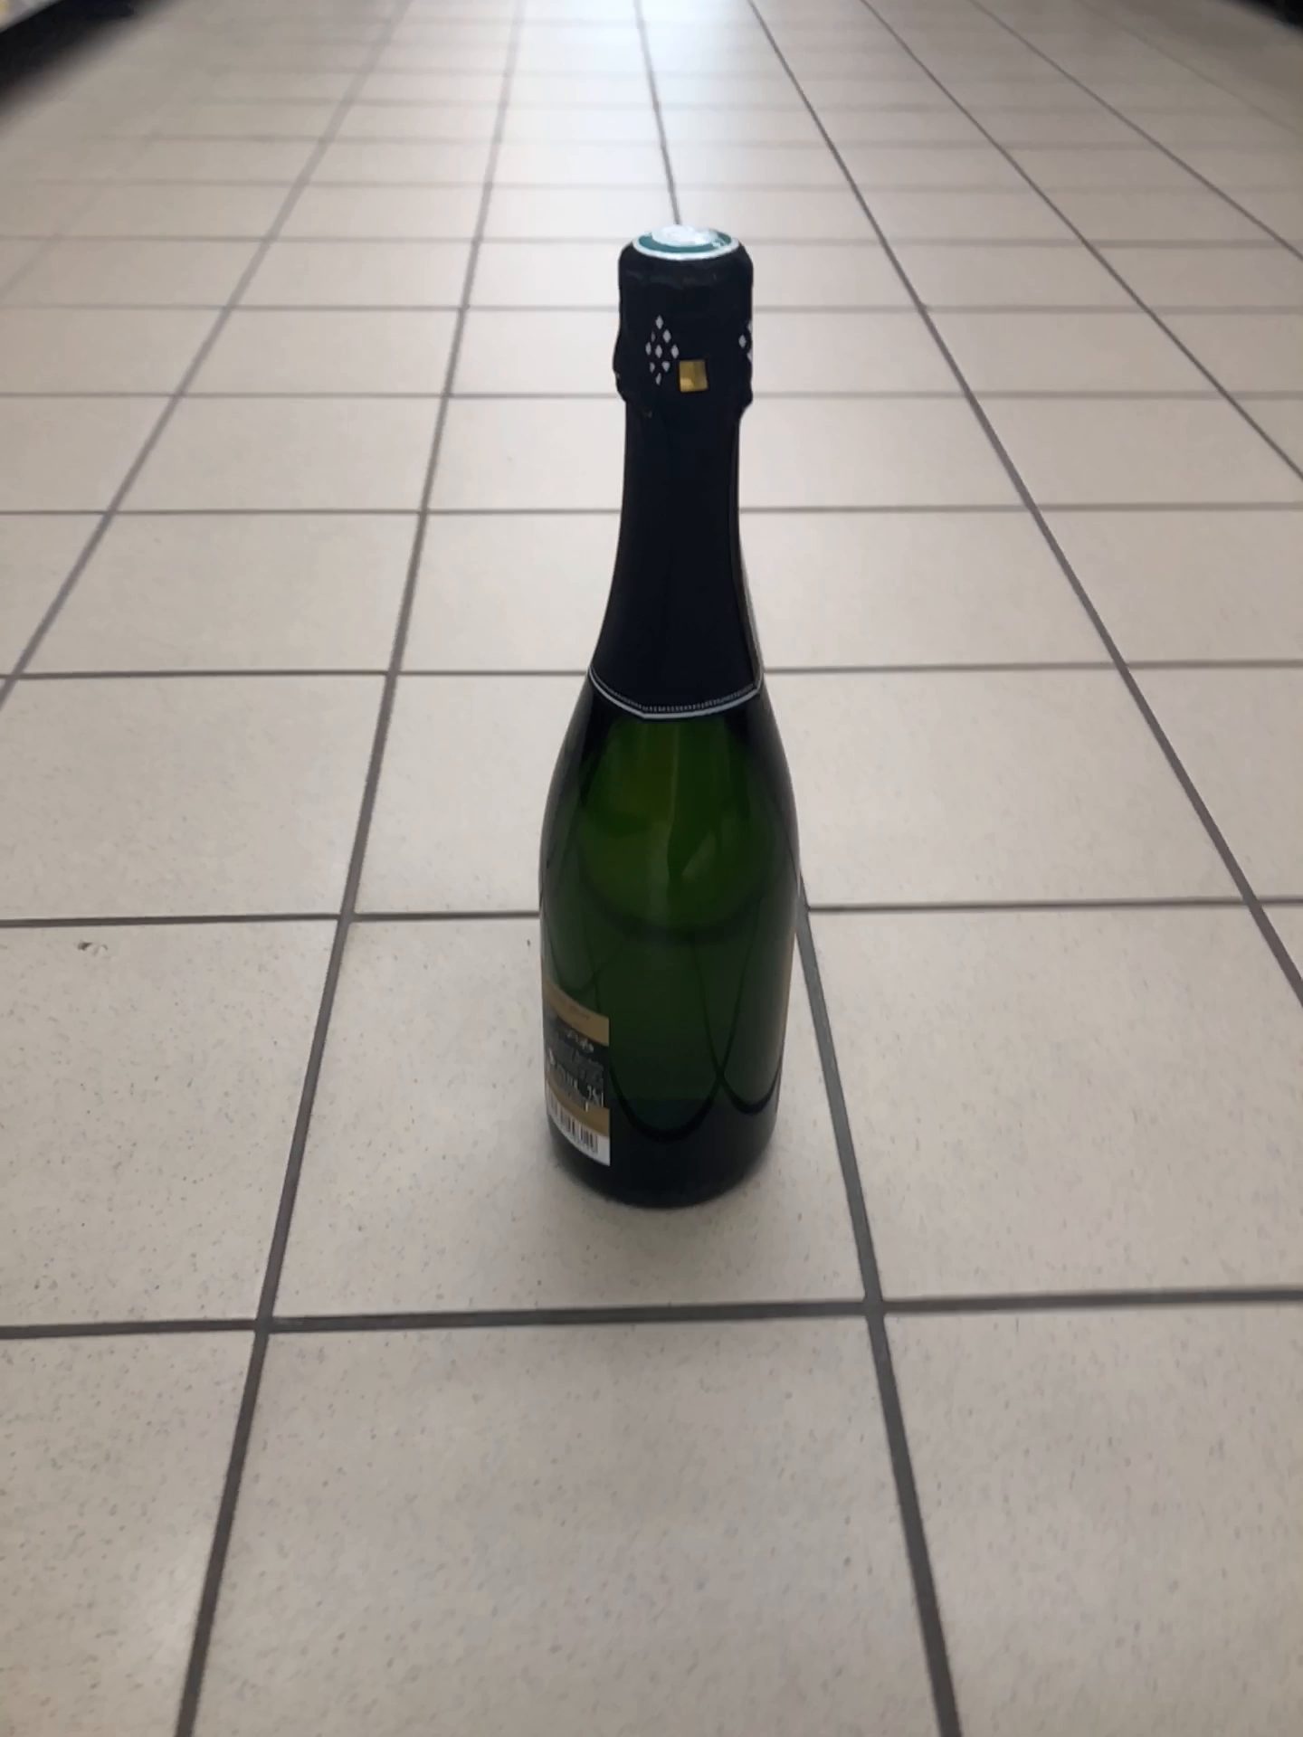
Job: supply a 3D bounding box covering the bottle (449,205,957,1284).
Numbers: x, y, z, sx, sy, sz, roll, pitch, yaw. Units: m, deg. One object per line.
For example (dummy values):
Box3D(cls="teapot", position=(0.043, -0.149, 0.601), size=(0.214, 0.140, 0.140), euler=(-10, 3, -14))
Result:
Box3D(cls="bottle", position=(0.006, -0.021, 0.436), size=(0.090, 0.308, 0.100), euler=(-12, 40, -17))
